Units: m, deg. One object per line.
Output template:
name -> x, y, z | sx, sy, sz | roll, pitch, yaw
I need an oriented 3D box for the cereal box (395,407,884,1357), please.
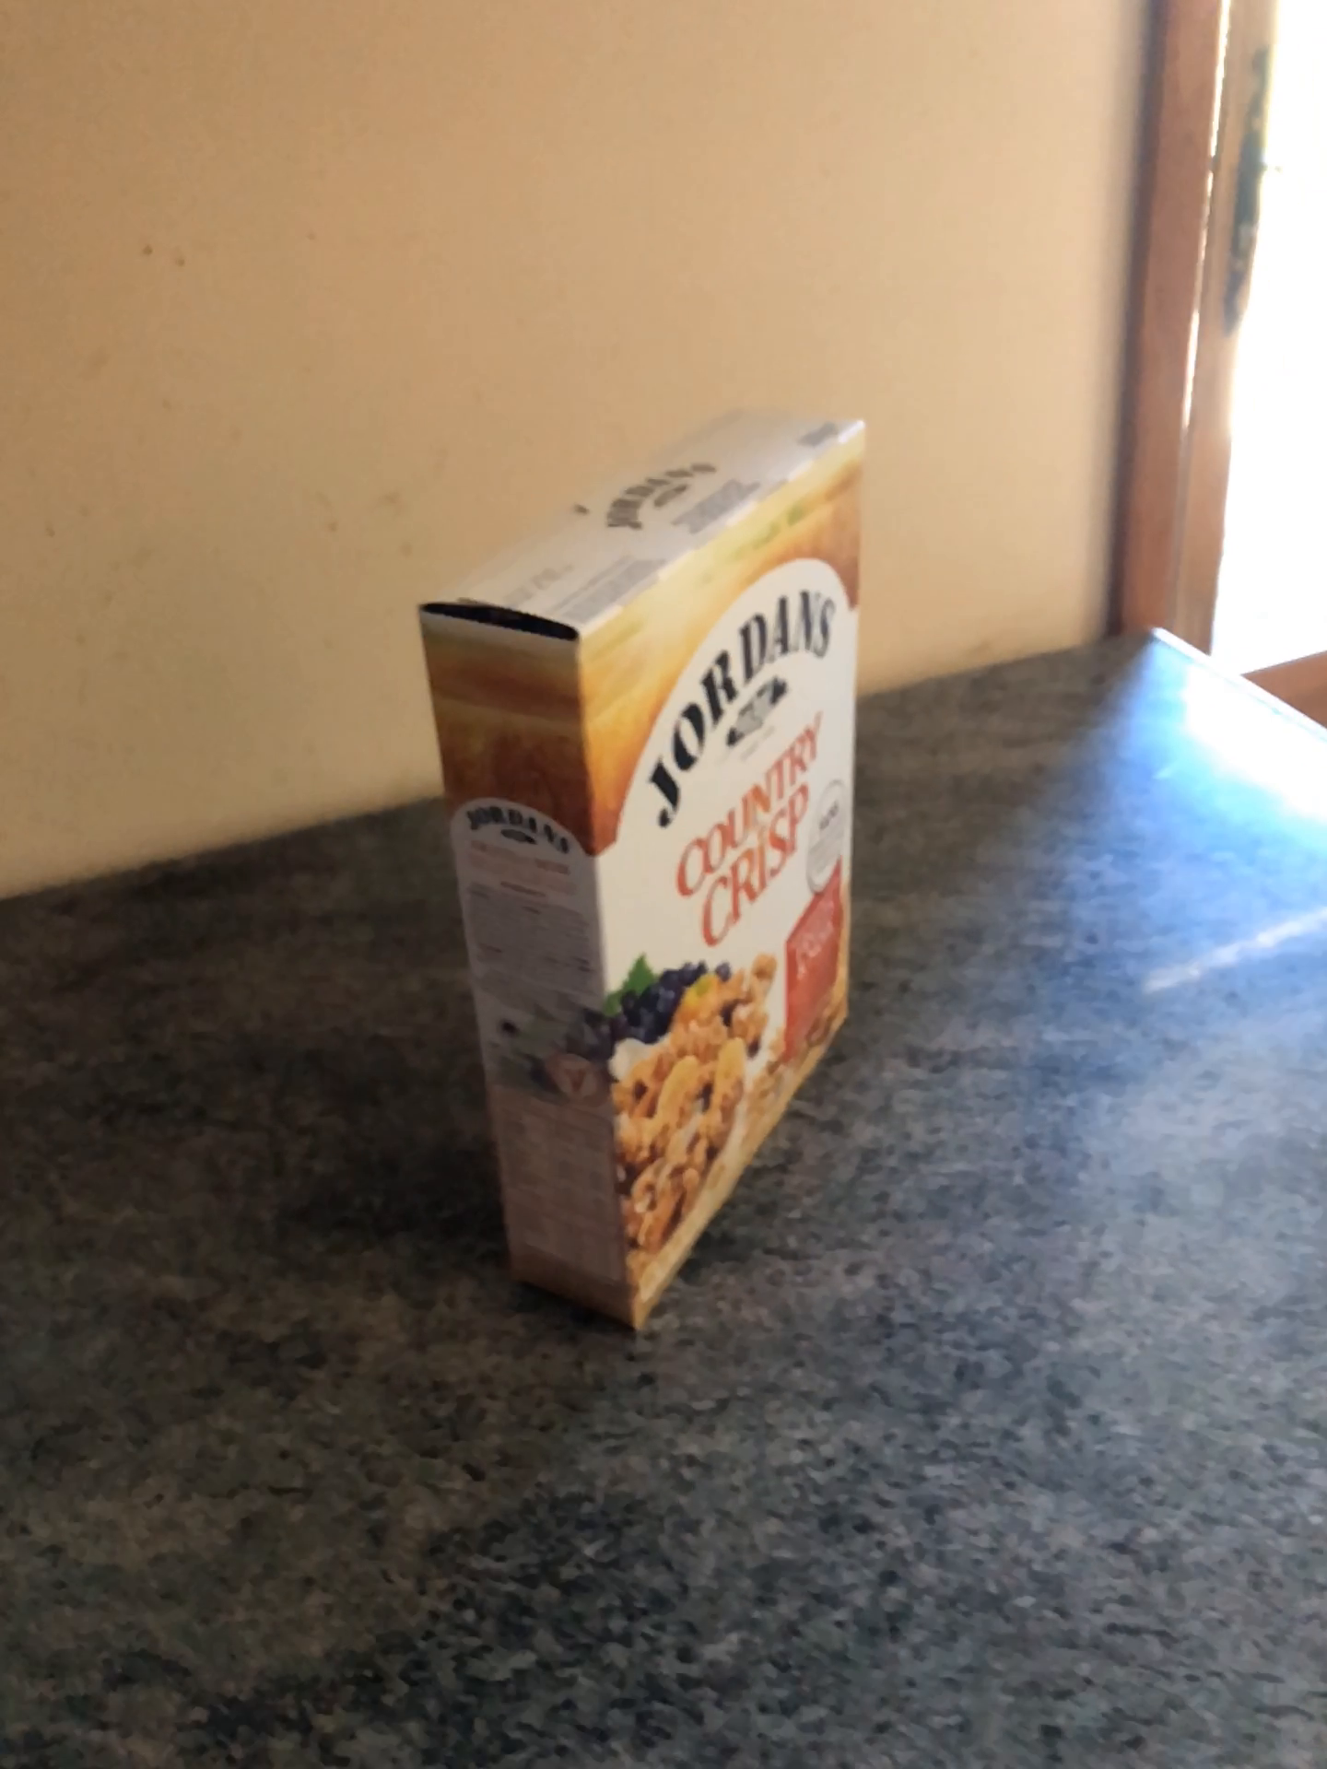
cereal box -> 0.006, -0.007, 0.491 | 0.060, 0.249, 0.191 | 14, 35, 23
